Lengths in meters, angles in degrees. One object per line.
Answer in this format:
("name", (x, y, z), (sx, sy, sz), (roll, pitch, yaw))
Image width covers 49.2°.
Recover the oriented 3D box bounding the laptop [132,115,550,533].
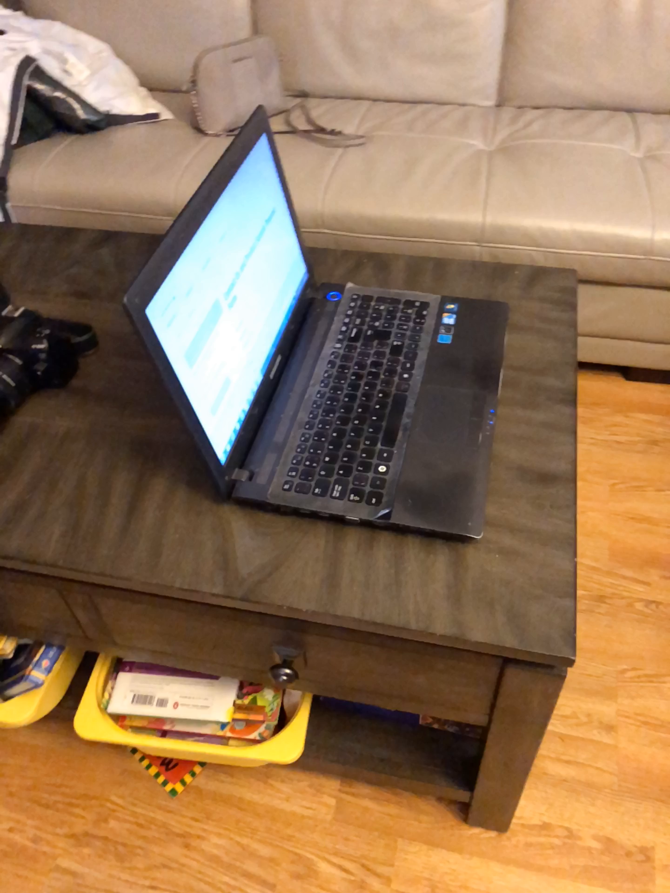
("laptop", (0.038, -0.146, 0.753), (0.308, 0.231, 0.369), (7, 47, 10))
